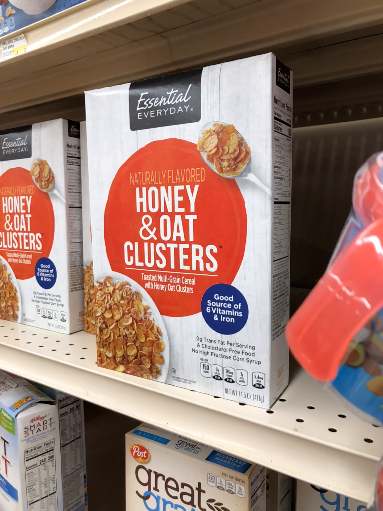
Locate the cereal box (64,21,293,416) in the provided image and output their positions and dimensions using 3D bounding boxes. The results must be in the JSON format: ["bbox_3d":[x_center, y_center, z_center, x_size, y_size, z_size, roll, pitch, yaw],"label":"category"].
[{"bbox_3d":[-0.016,-0.029,0.411,0.210,0.300,0.070,3,8,34],"label":"cereal box"}]
